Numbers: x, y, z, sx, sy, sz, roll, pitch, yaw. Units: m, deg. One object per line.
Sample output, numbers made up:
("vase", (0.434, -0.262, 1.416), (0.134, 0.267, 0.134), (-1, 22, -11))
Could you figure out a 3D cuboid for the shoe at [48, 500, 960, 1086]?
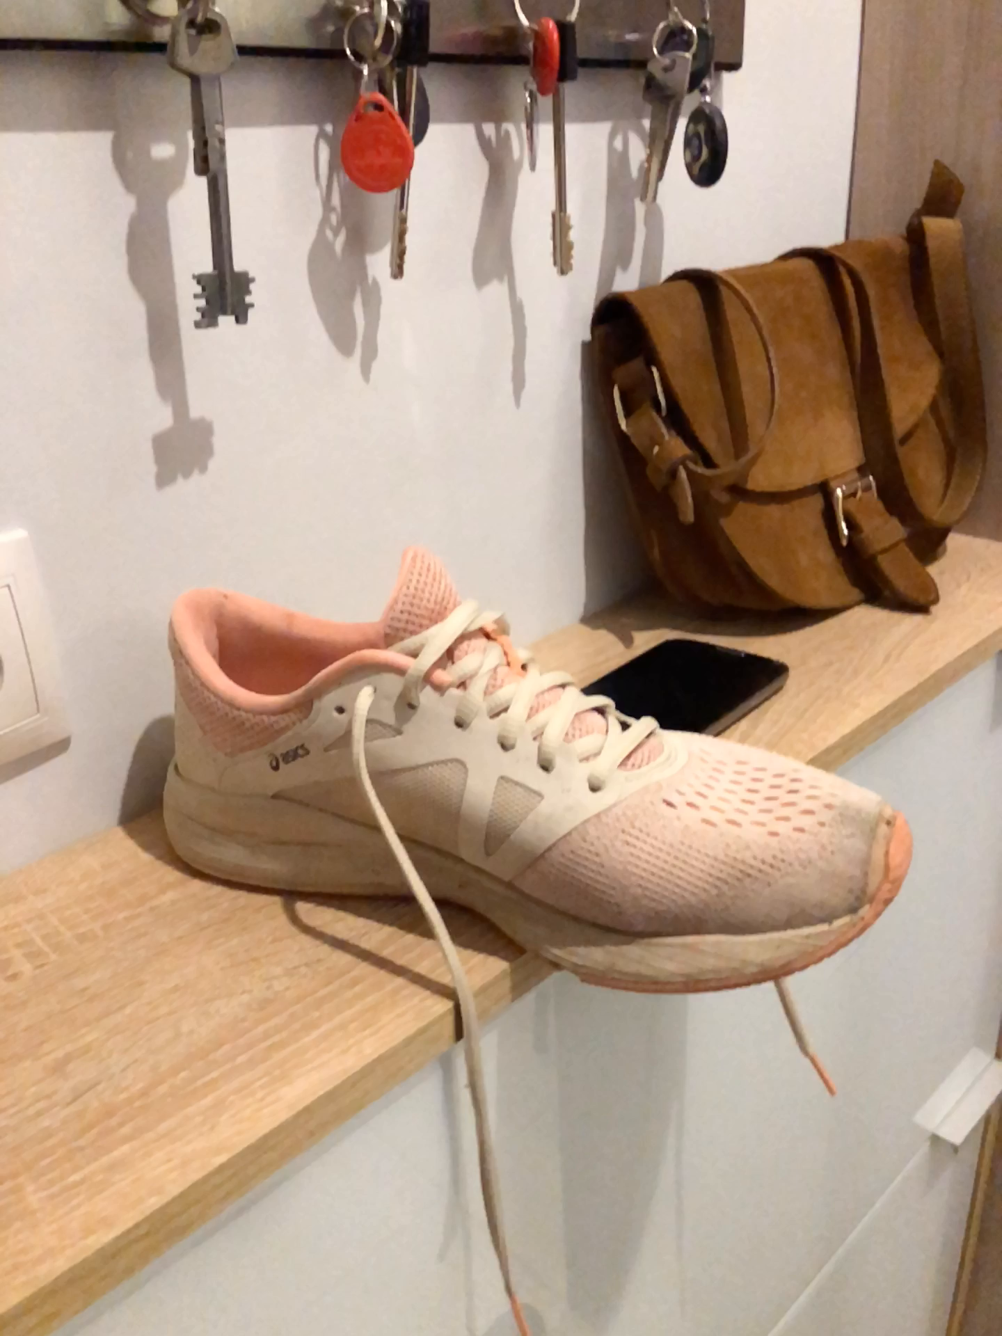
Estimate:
("shoe", (-0.002, 0.020, 0.369), (0.268, 0.104, 0.111), (9, 27, 26))
